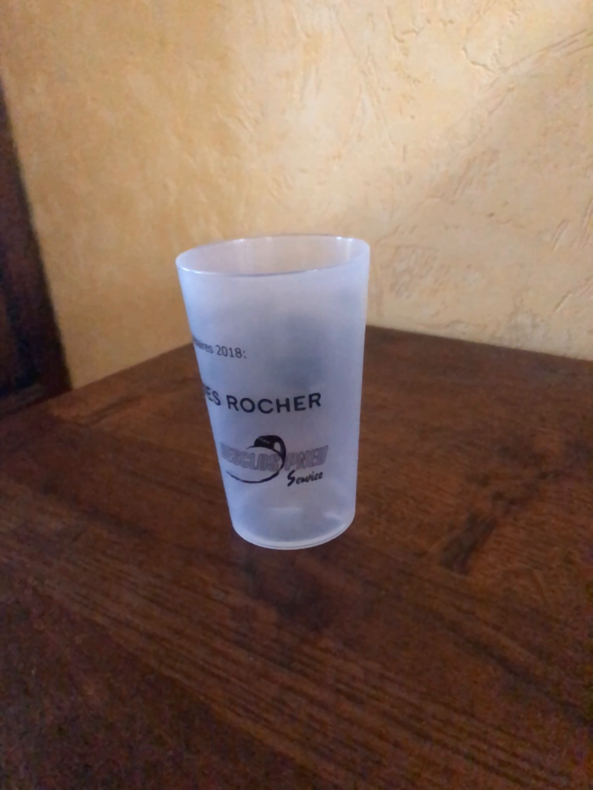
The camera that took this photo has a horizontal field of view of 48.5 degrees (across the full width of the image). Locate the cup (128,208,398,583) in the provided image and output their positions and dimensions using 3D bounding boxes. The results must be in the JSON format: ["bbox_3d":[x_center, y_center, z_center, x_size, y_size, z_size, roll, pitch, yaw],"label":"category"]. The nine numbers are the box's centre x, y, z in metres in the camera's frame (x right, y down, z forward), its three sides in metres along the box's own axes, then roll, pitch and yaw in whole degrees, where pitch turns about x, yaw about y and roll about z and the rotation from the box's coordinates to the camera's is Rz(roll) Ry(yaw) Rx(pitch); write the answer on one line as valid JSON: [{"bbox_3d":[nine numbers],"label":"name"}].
[{"bbox_3d":[-0.010,-0.006,0.264,0.070,0.119,0.070,-3,23,1],"label":"cup"}]
